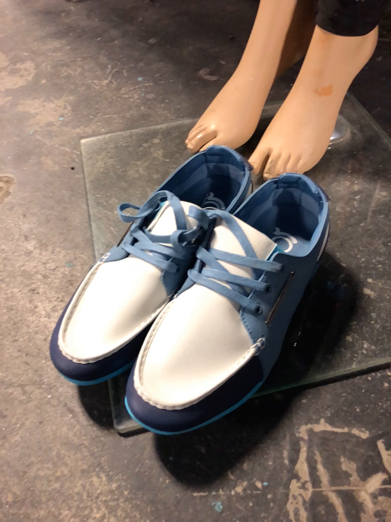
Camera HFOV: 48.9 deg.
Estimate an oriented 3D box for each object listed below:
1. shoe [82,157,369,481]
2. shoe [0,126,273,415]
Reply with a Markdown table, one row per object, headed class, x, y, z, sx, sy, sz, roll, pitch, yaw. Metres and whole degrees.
| class | x | y | z | sx | sy | sz | roll | pitch | yaw |
| --- | --- | --- | --- | --- | --- | --- | --- | --- | --- |
| shoe | 0.040 | 0.034 | 0.373 | 0.100 | 0.099 | 0.251 | 28 | 59 | 25 |
| shoe | -0.037 | -0.005 | 0.407 | 0.090 | 0.099 | 0.261 | 29 | 59 | 23 |
